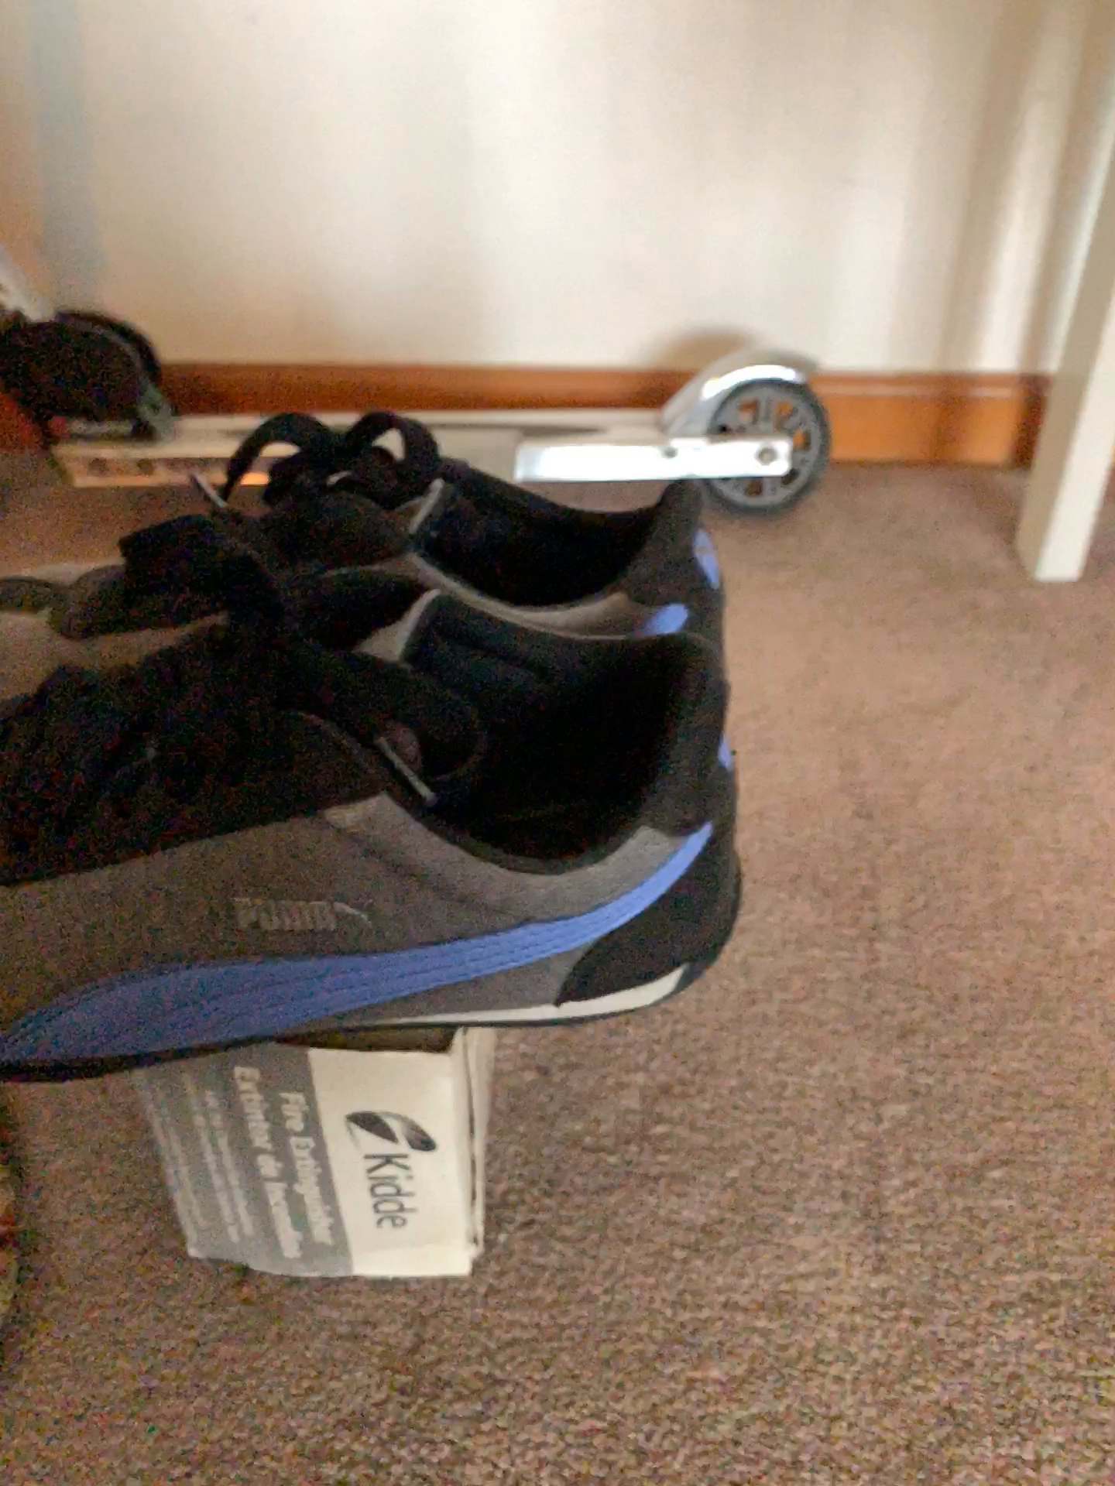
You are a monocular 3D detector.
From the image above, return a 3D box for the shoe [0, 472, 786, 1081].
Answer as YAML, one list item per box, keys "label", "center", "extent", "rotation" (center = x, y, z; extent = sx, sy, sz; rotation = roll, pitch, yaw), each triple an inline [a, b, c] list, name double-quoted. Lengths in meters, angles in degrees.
- label: "shoe"
  center: [-0.080, 0.005, 0.272]
  extent: [0.240, 0.099, 0.101]
  rotation: [0, 36, 1]

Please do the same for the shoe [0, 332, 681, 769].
- label: "shoe"
  center: [-0.085, -0.059, 0.342]
  extent: [0.230, 0.089, 0.101]
  rotation: [0, 36, 1]
